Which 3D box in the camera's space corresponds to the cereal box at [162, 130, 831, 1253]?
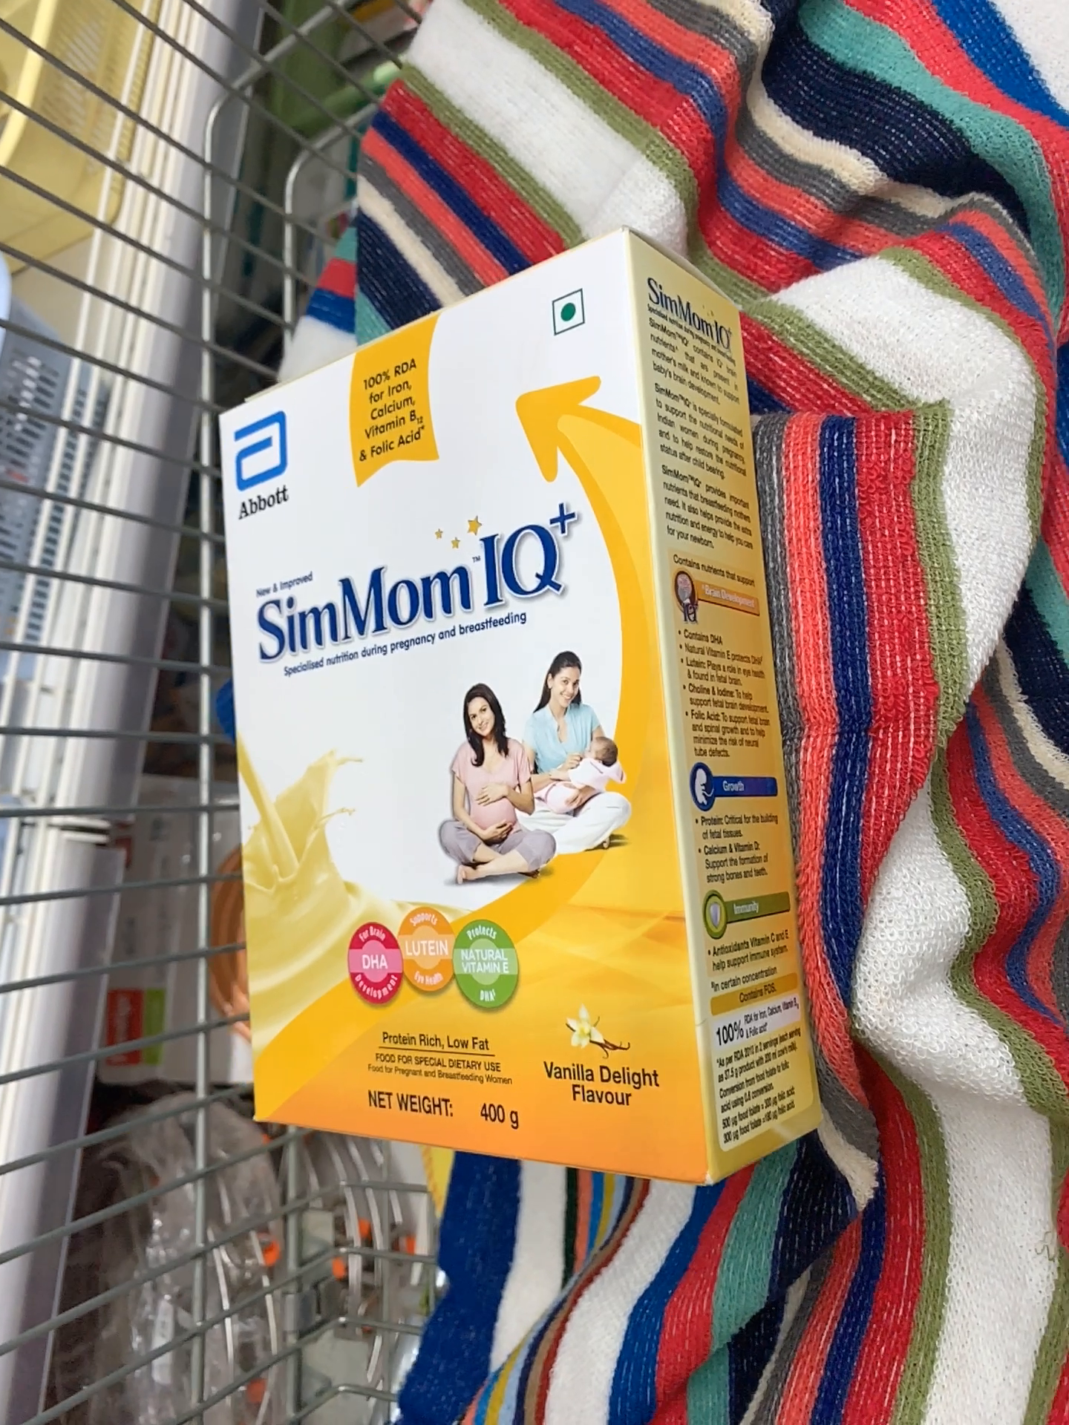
[{"bbox_3d":[-0.019,0.001,0.257,0.141,0.050,0.200,-9,82,36],"label":"cereal box"}]
